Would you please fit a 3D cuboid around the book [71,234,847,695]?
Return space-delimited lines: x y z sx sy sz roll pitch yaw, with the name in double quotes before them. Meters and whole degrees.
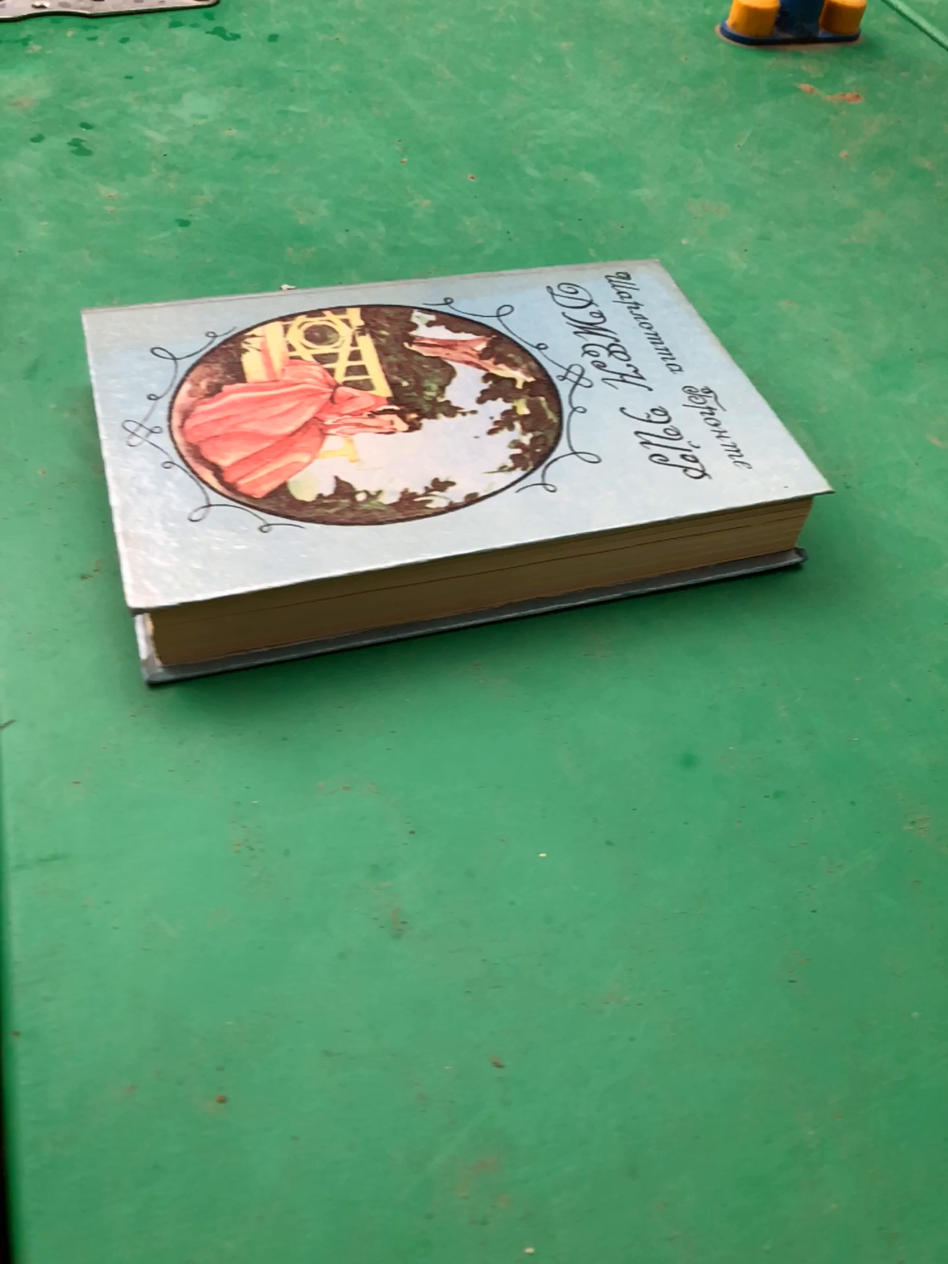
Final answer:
"book" -0.011 -0.063 0.319 0.196 0.030 0.135 -11 53 -15
